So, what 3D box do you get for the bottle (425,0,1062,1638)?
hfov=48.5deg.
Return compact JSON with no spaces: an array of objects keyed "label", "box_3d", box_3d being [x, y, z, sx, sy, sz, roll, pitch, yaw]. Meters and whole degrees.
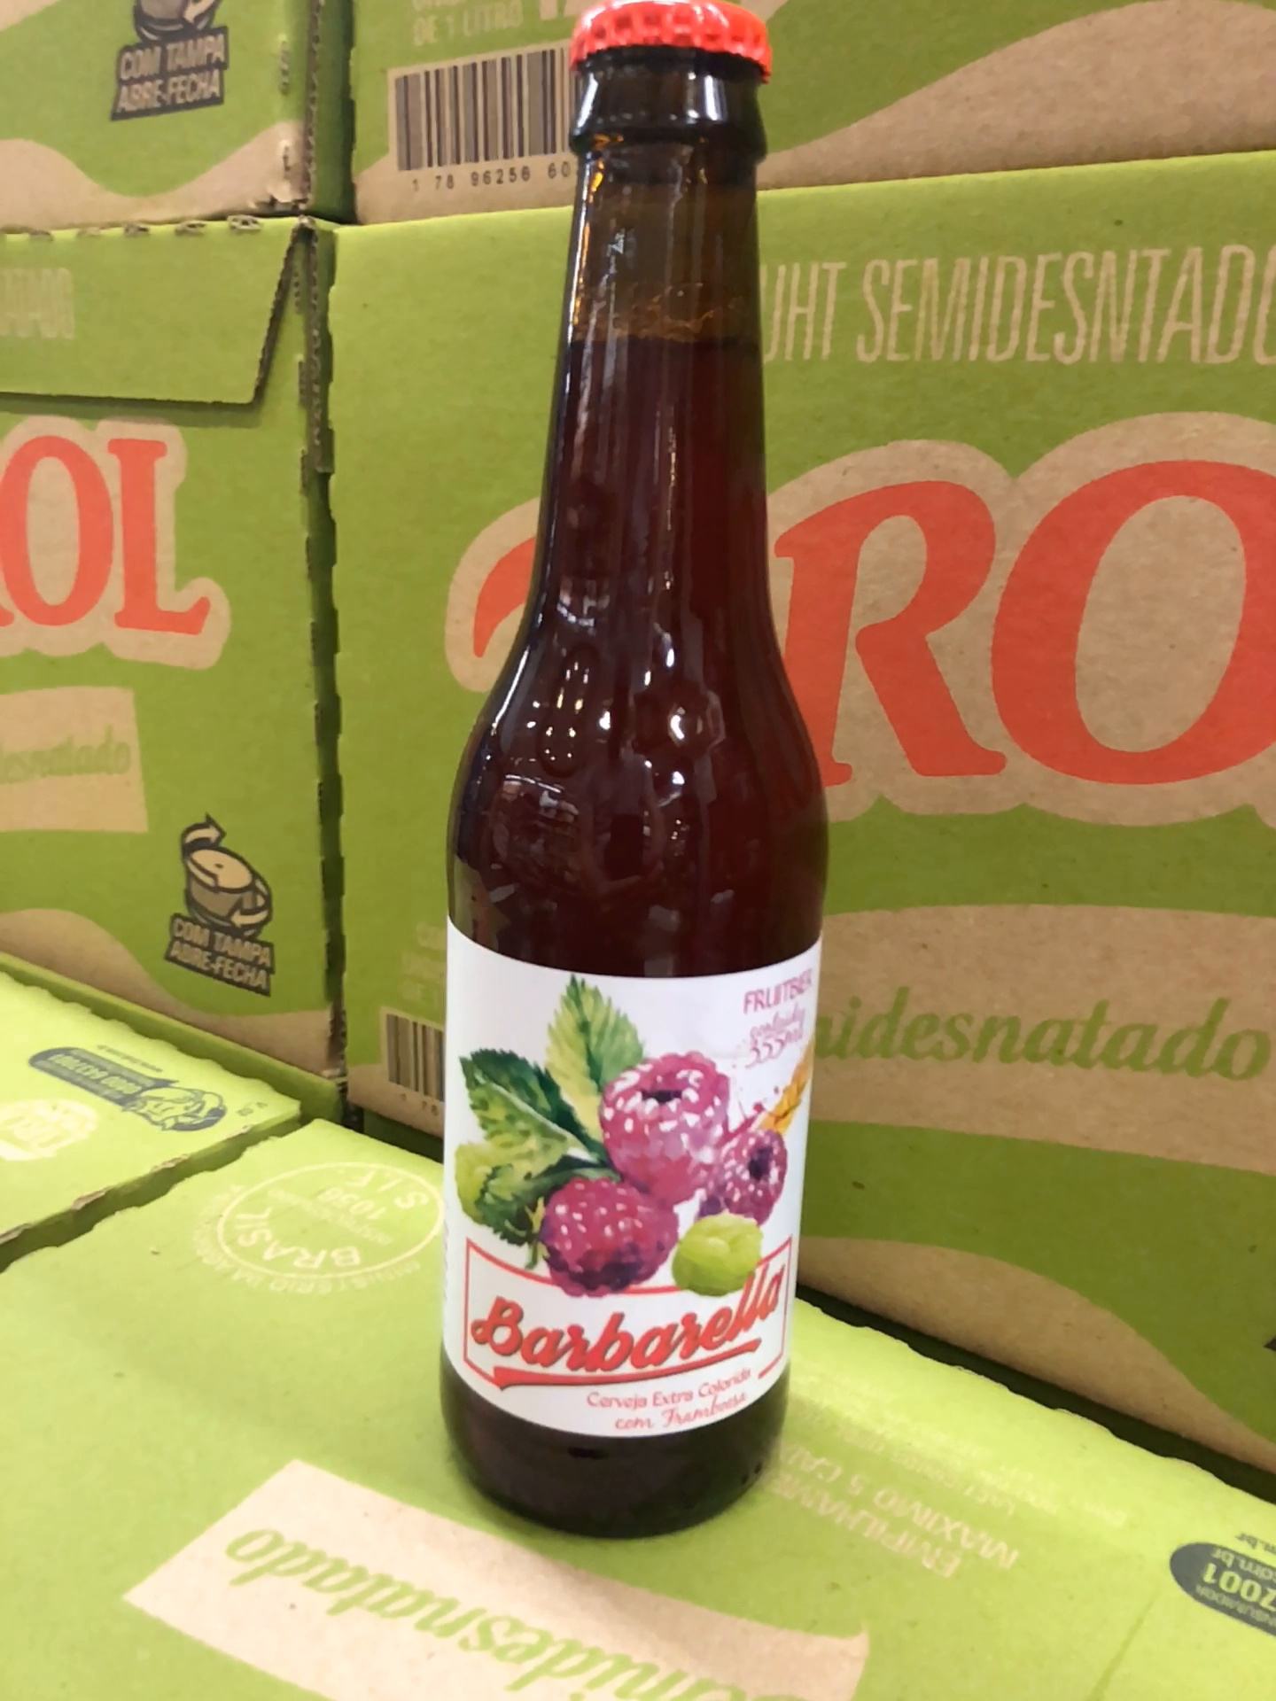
[{"label":"bottle","box_3d":[0.005,0.000,0.220,0.070,0.229,0.060,0,16,-11]}]
